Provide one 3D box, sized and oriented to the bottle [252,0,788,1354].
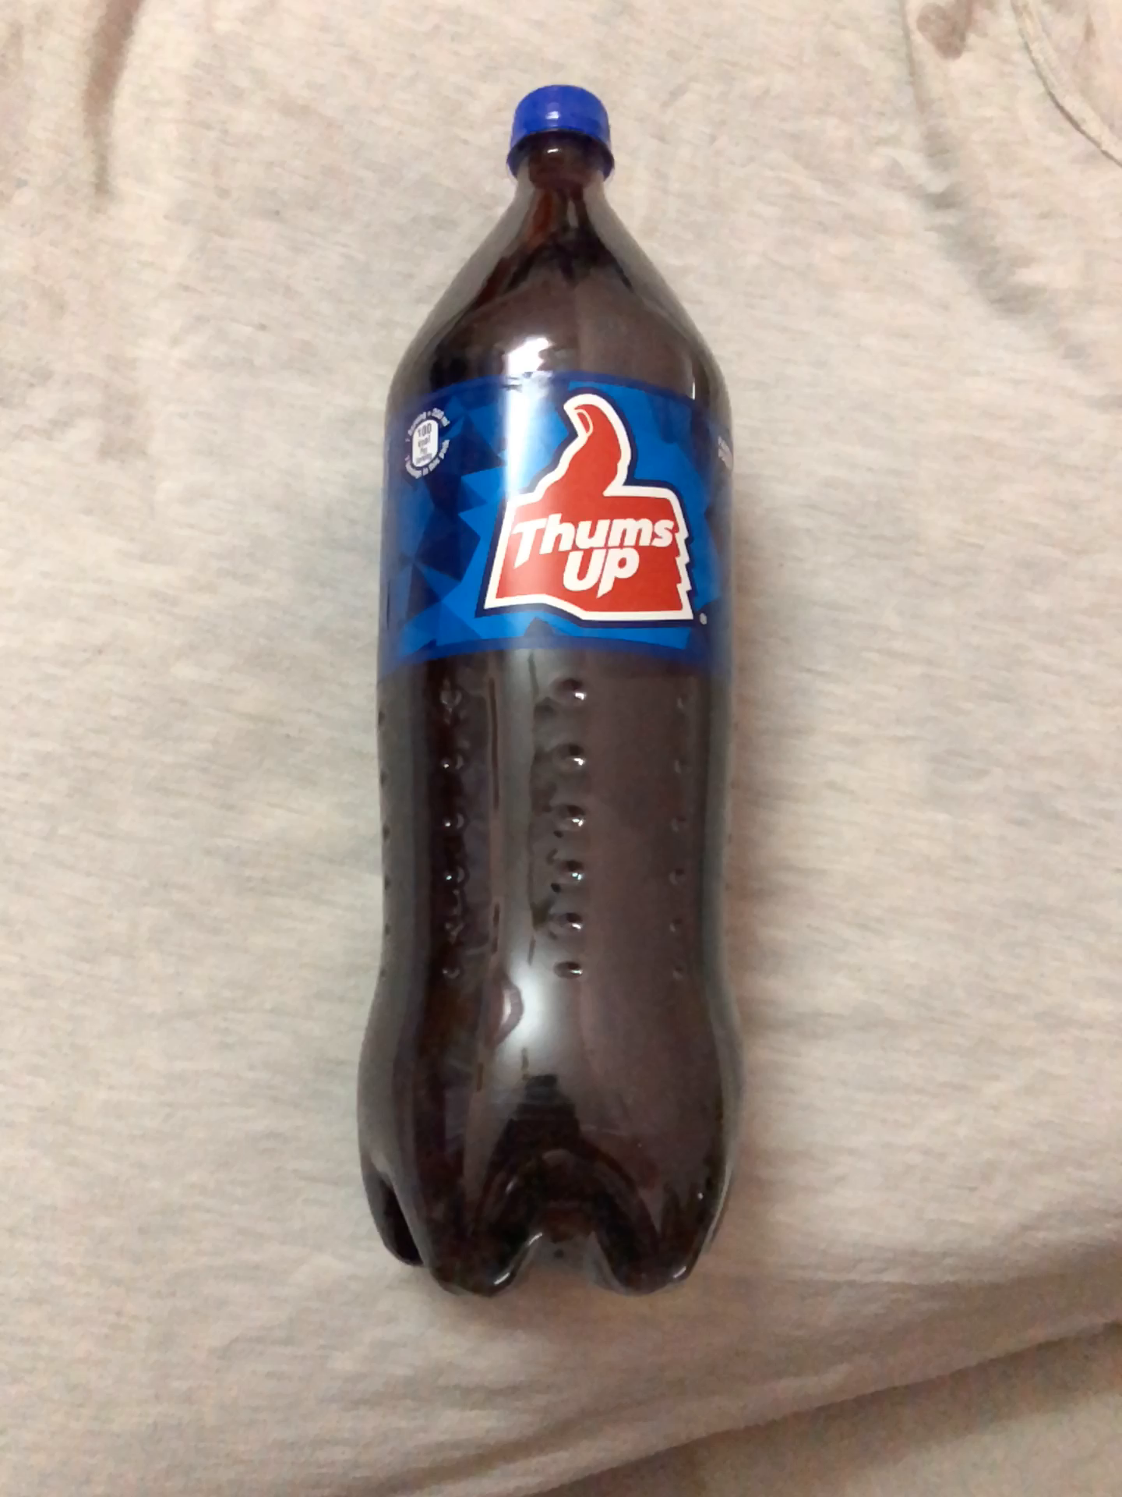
[{"bbox_3d":[-0.011,-0.033,0.287,0.100,0.060,0.300,1,79,-9],"label":"bottle"}]
